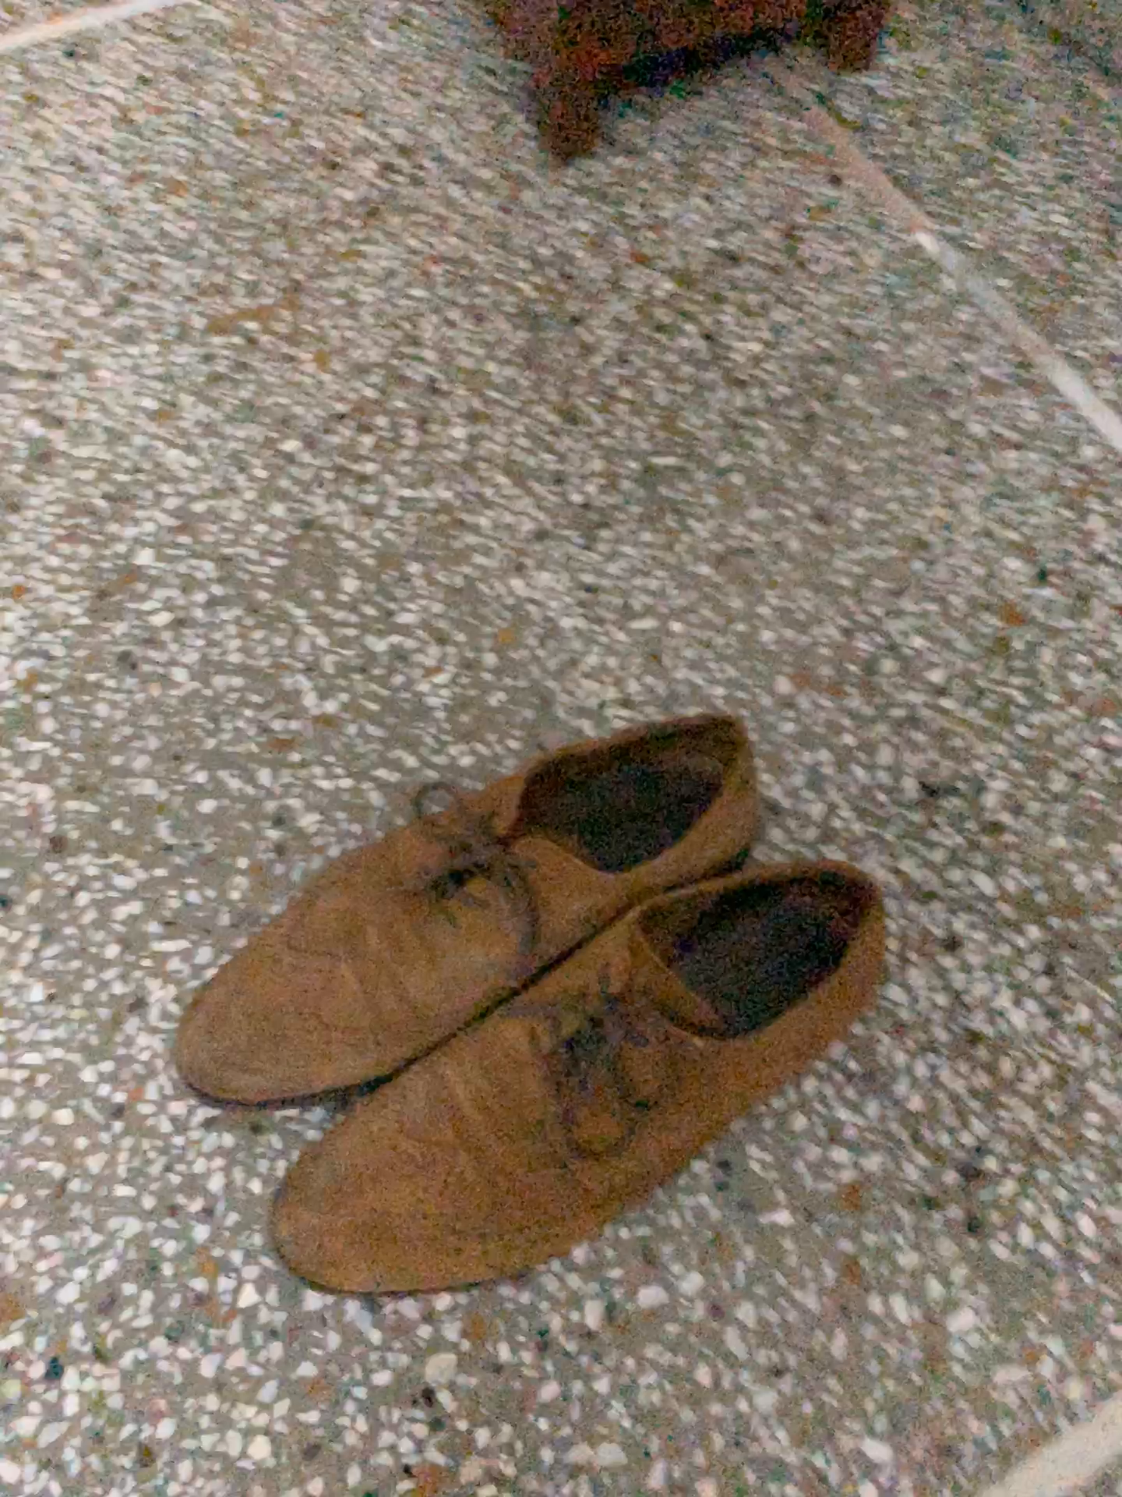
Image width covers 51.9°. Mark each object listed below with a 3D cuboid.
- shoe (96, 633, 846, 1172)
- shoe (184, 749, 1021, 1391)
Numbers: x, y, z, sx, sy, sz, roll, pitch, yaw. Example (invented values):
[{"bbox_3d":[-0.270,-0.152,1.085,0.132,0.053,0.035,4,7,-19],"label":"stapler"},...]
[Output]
[{"bbox_3d":[-0.035,0.071,0.546,0.309,0.110,0.100,-24,66,-13],"label":"shoe"},{"bbox_3d":[0.021,0.131,0.485,0.309,0.110,0.100,-26,67,-14],"label":"shoe"}]
